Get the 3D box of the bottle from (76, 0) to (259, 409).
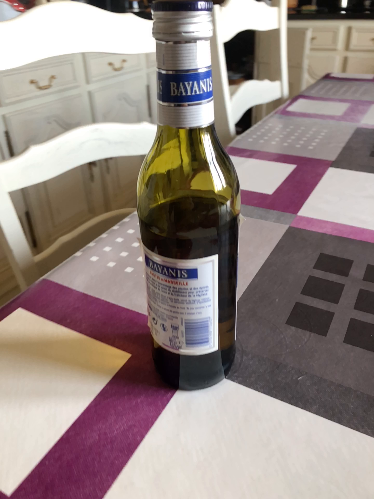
[{"bbox_3d":[-0.002,-0.017,0.279,0.070,0.258,0.070,-2,31,1],"label":"bottle"}]
